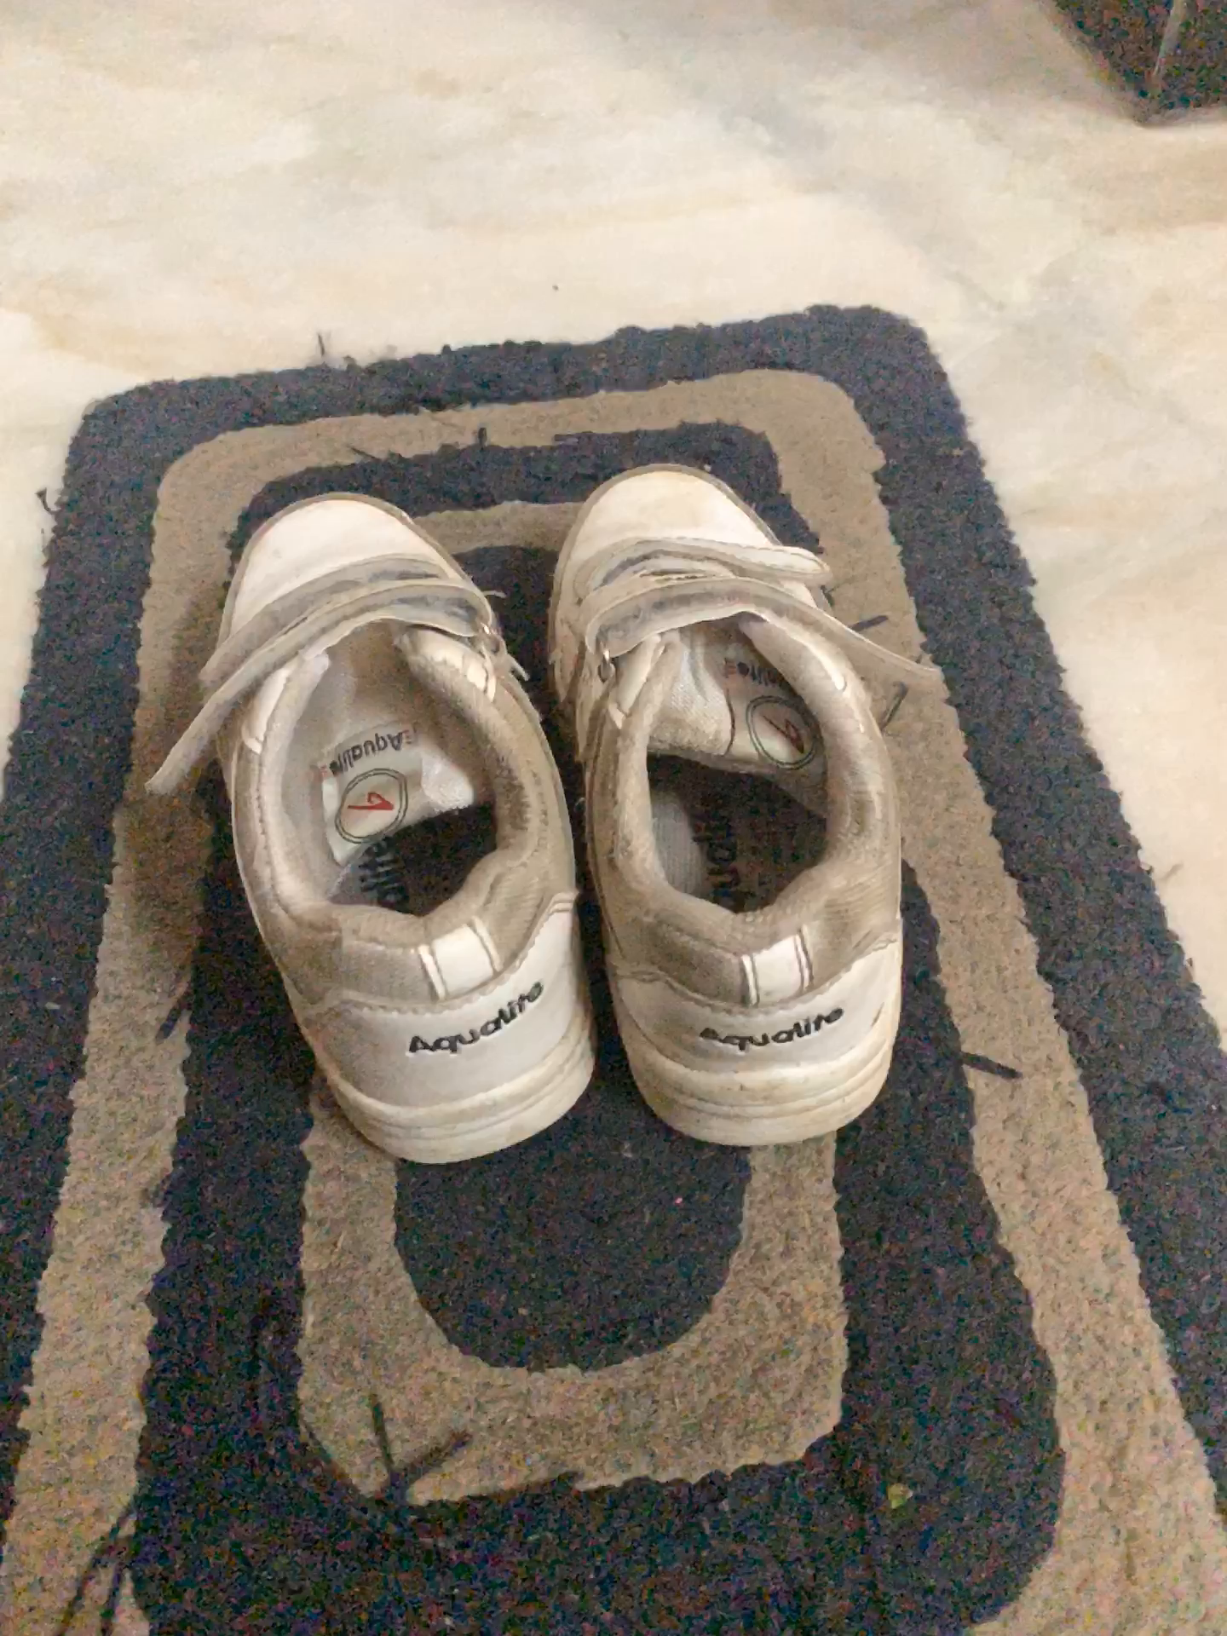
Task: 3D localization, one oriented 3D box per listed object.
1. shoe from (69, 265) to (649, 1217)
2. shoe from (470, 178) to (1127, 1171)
[{"bbox_3d":[-0.061,-0.026,0.290,0.080,0.089,0.191,-16,55,-8],"label":"shoe"},{"bbox_3d":[0.023,-0.041,0.280,0.080,0.089,0.201,-9,54,-3],"label":"shoe"}]
